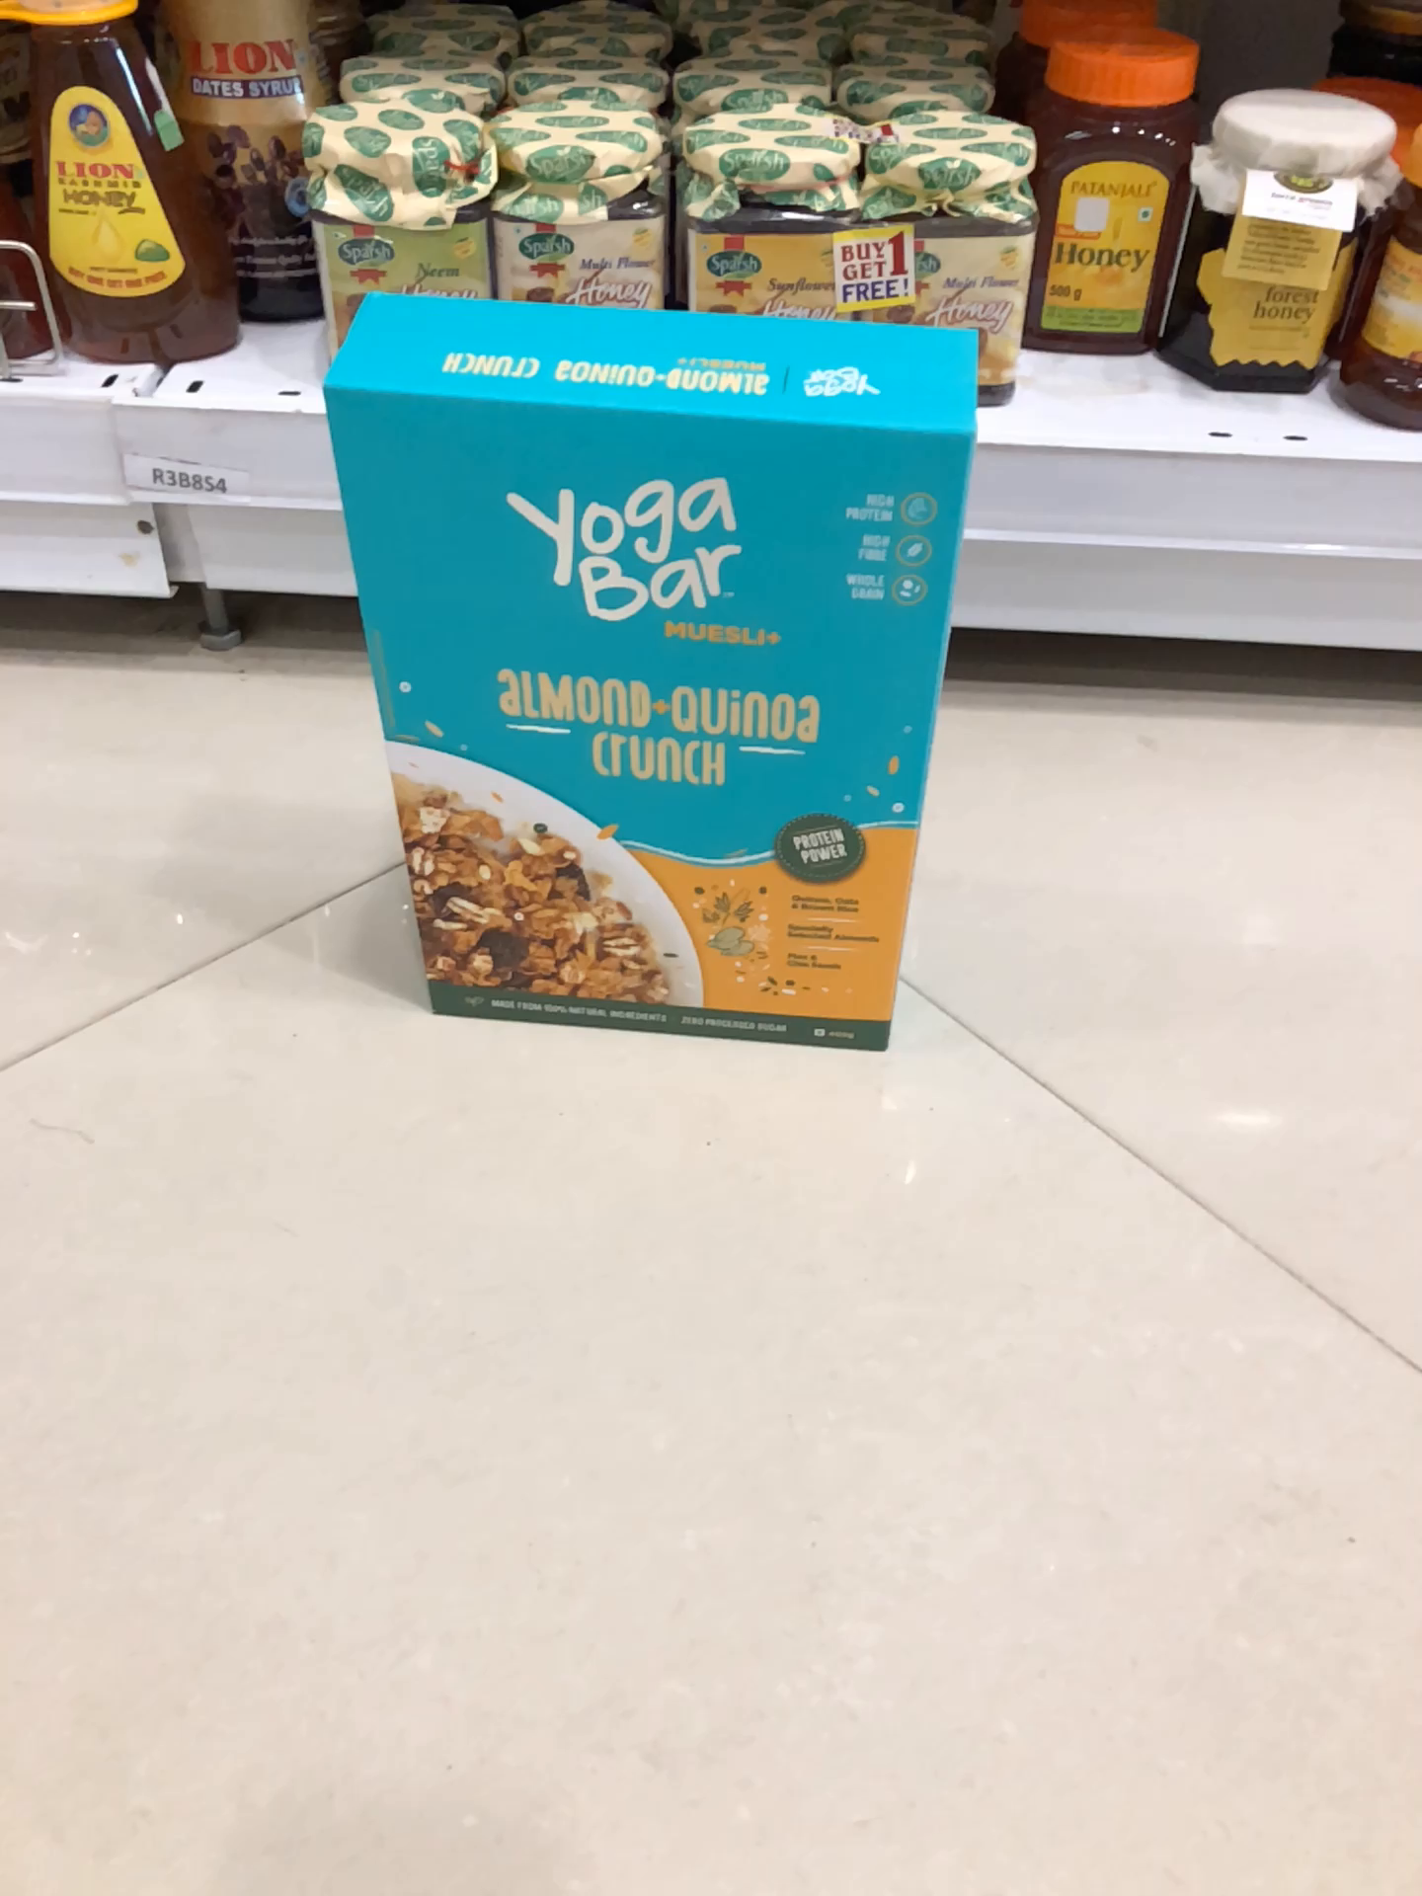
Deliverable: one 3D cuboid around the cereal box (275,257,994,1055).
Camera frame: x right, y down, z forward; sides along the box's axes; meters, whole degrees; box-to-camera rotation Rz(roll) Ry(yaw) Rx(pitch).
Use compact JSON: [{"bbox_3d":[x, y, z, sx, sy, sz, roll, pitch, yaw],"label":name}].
[{"bbox_3d":[-0.019,-0.074,0.469,0.170,0.228,0.060,5,45,3],"label":"cereal box"}]
